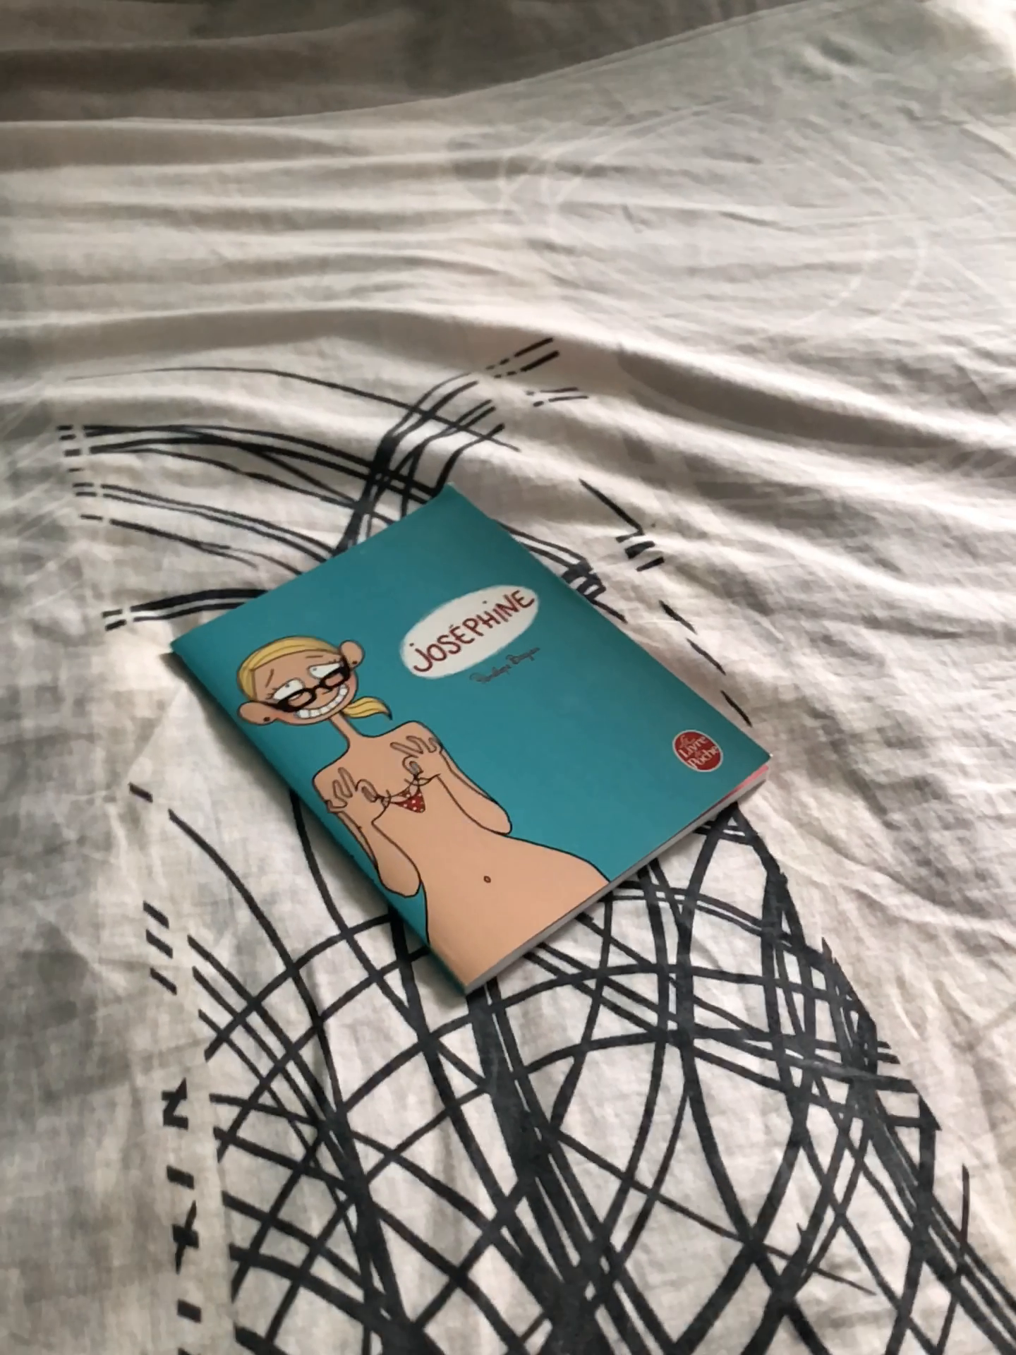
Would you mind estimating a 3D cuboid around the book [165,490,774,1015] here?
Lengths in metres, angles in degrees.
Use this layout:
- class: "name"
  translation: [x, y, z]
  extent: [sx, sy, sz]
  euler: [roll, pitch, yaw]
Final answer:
- class: "book"
  translation: [-0.020, 0.012, 0.425]
  extent: [0.145, 0.014, 0.187]
  euler: [-32, 56, -23]
